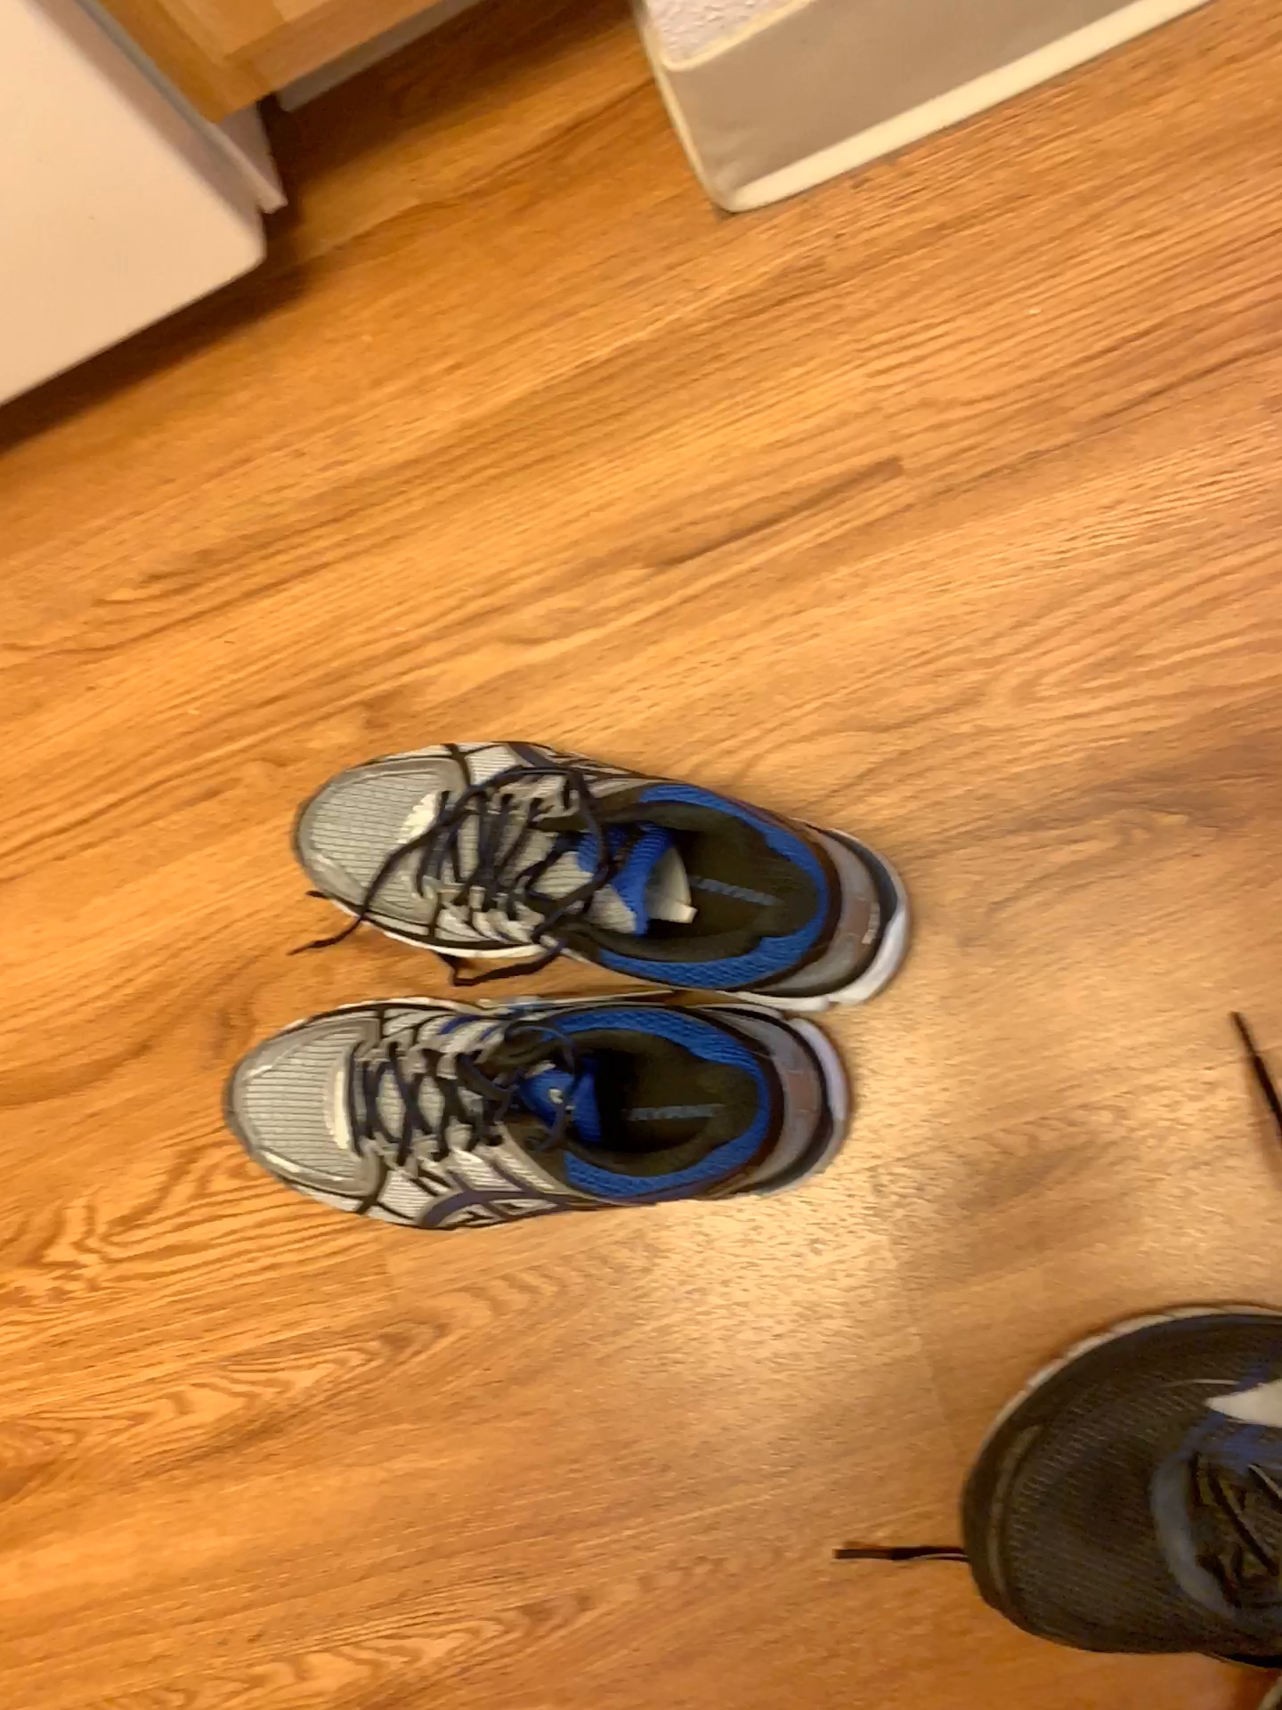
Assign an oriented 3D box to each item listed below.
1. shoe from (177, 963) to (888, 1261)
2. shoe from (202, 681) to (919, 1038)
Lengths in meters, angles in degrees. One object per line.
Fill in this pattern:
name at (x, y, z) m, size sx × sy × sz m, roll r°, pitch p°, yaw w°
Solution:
shoe at (-0.045, 0.116, 0.596) m, size 0.291 × 0.130 × 0.110 m, roll -4°, pitch 80°, yaw 18°
shoe at (-0.030, 0.003, 0.589) m, size 0.281 × 0.130 × 0.110 m, roll 7°, pitch 83°, yaw 19°
